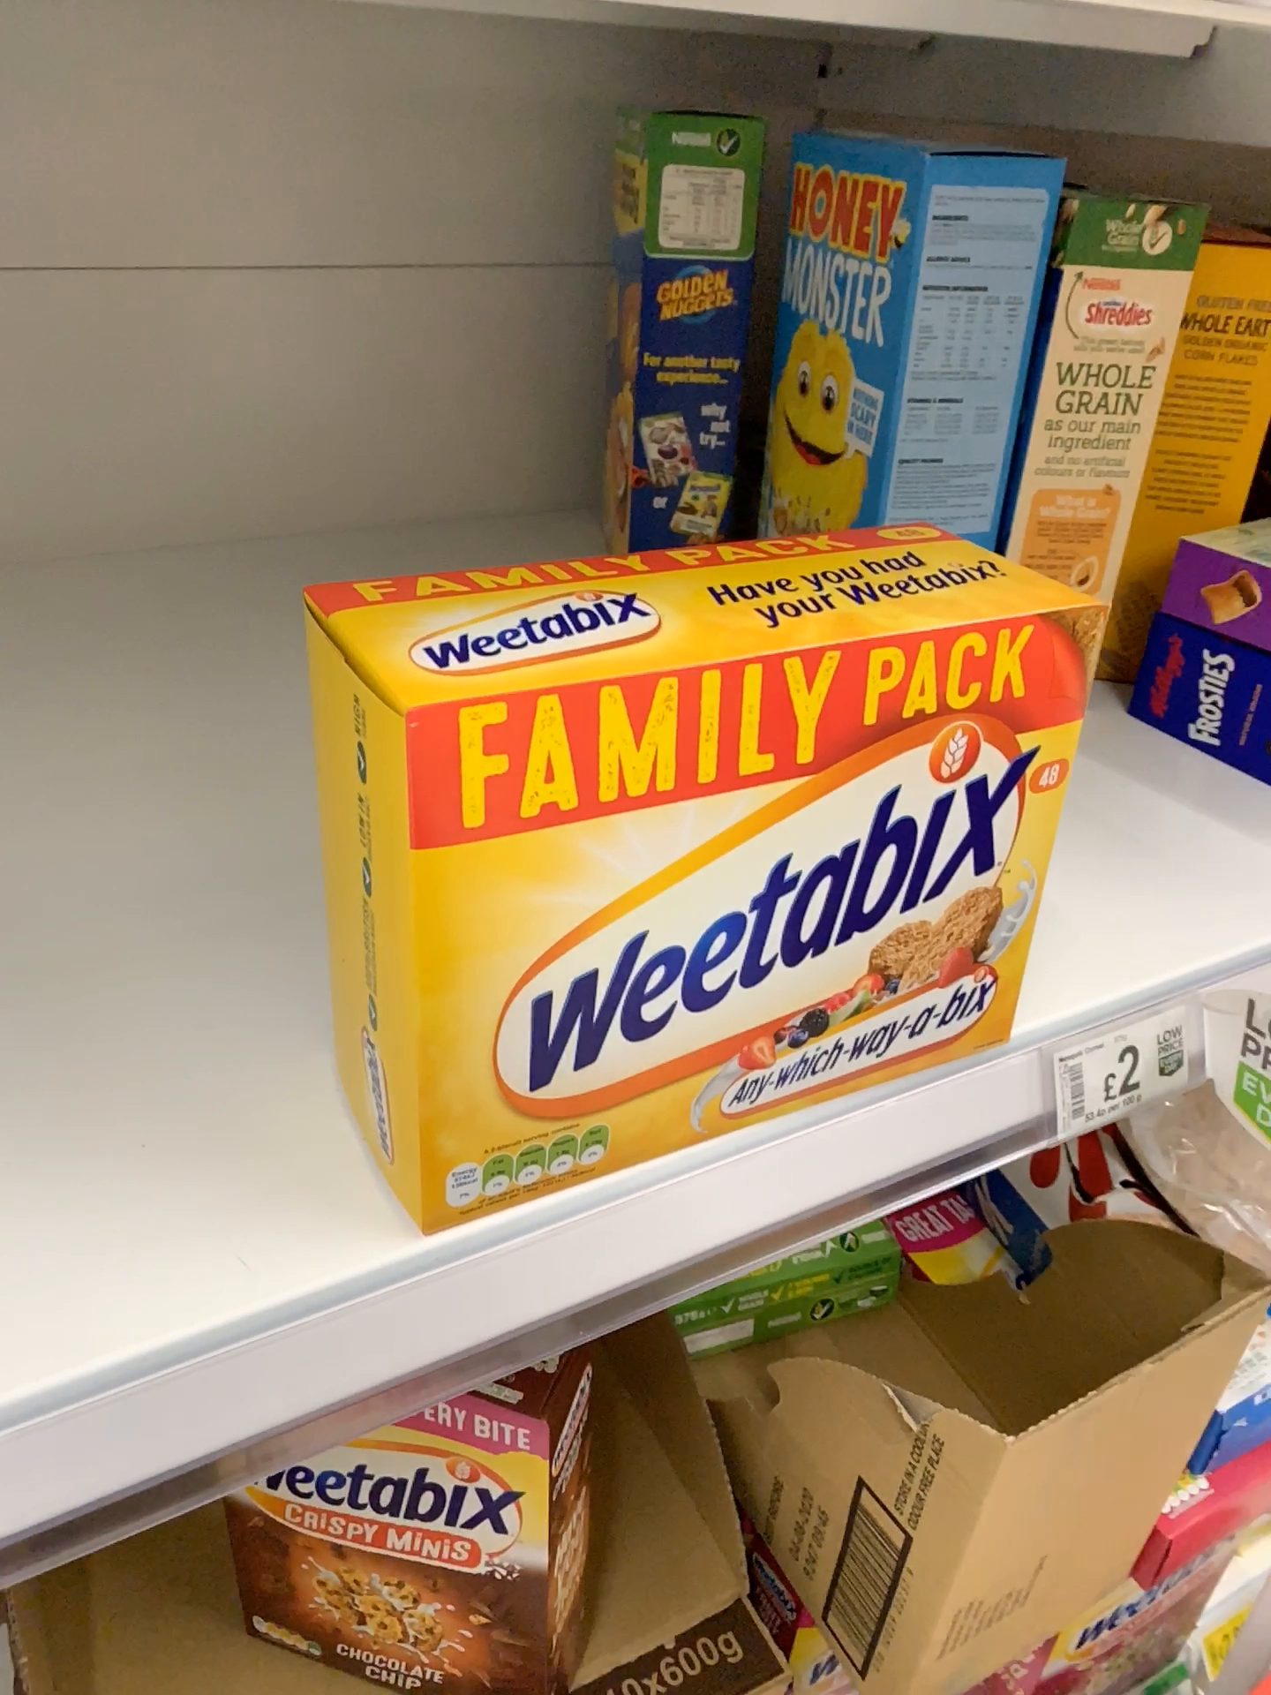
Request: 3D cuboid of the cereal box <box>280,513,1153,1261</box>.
[{"bbox_3d":[0.026,0.001,0.449,0.261,0.188,0.091,-12,33,-25],"label":"cereal box"}]
